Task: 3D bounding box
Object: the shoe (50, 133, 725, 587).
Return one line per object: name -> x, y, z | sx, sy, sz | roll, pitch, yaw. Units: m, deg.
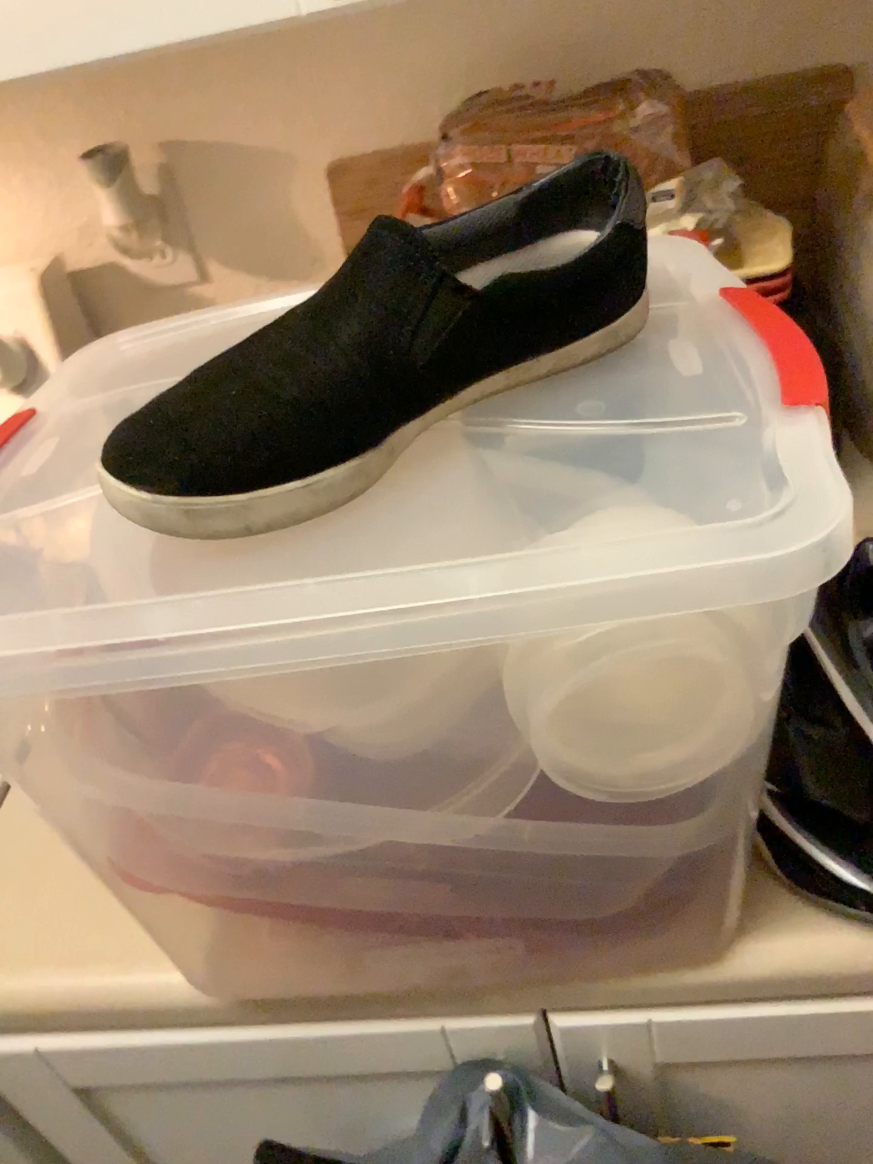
shoe -> -0.009, -0.110, 0.420 | 0.270, 0.070, 0.100 | -31, 40, -21
